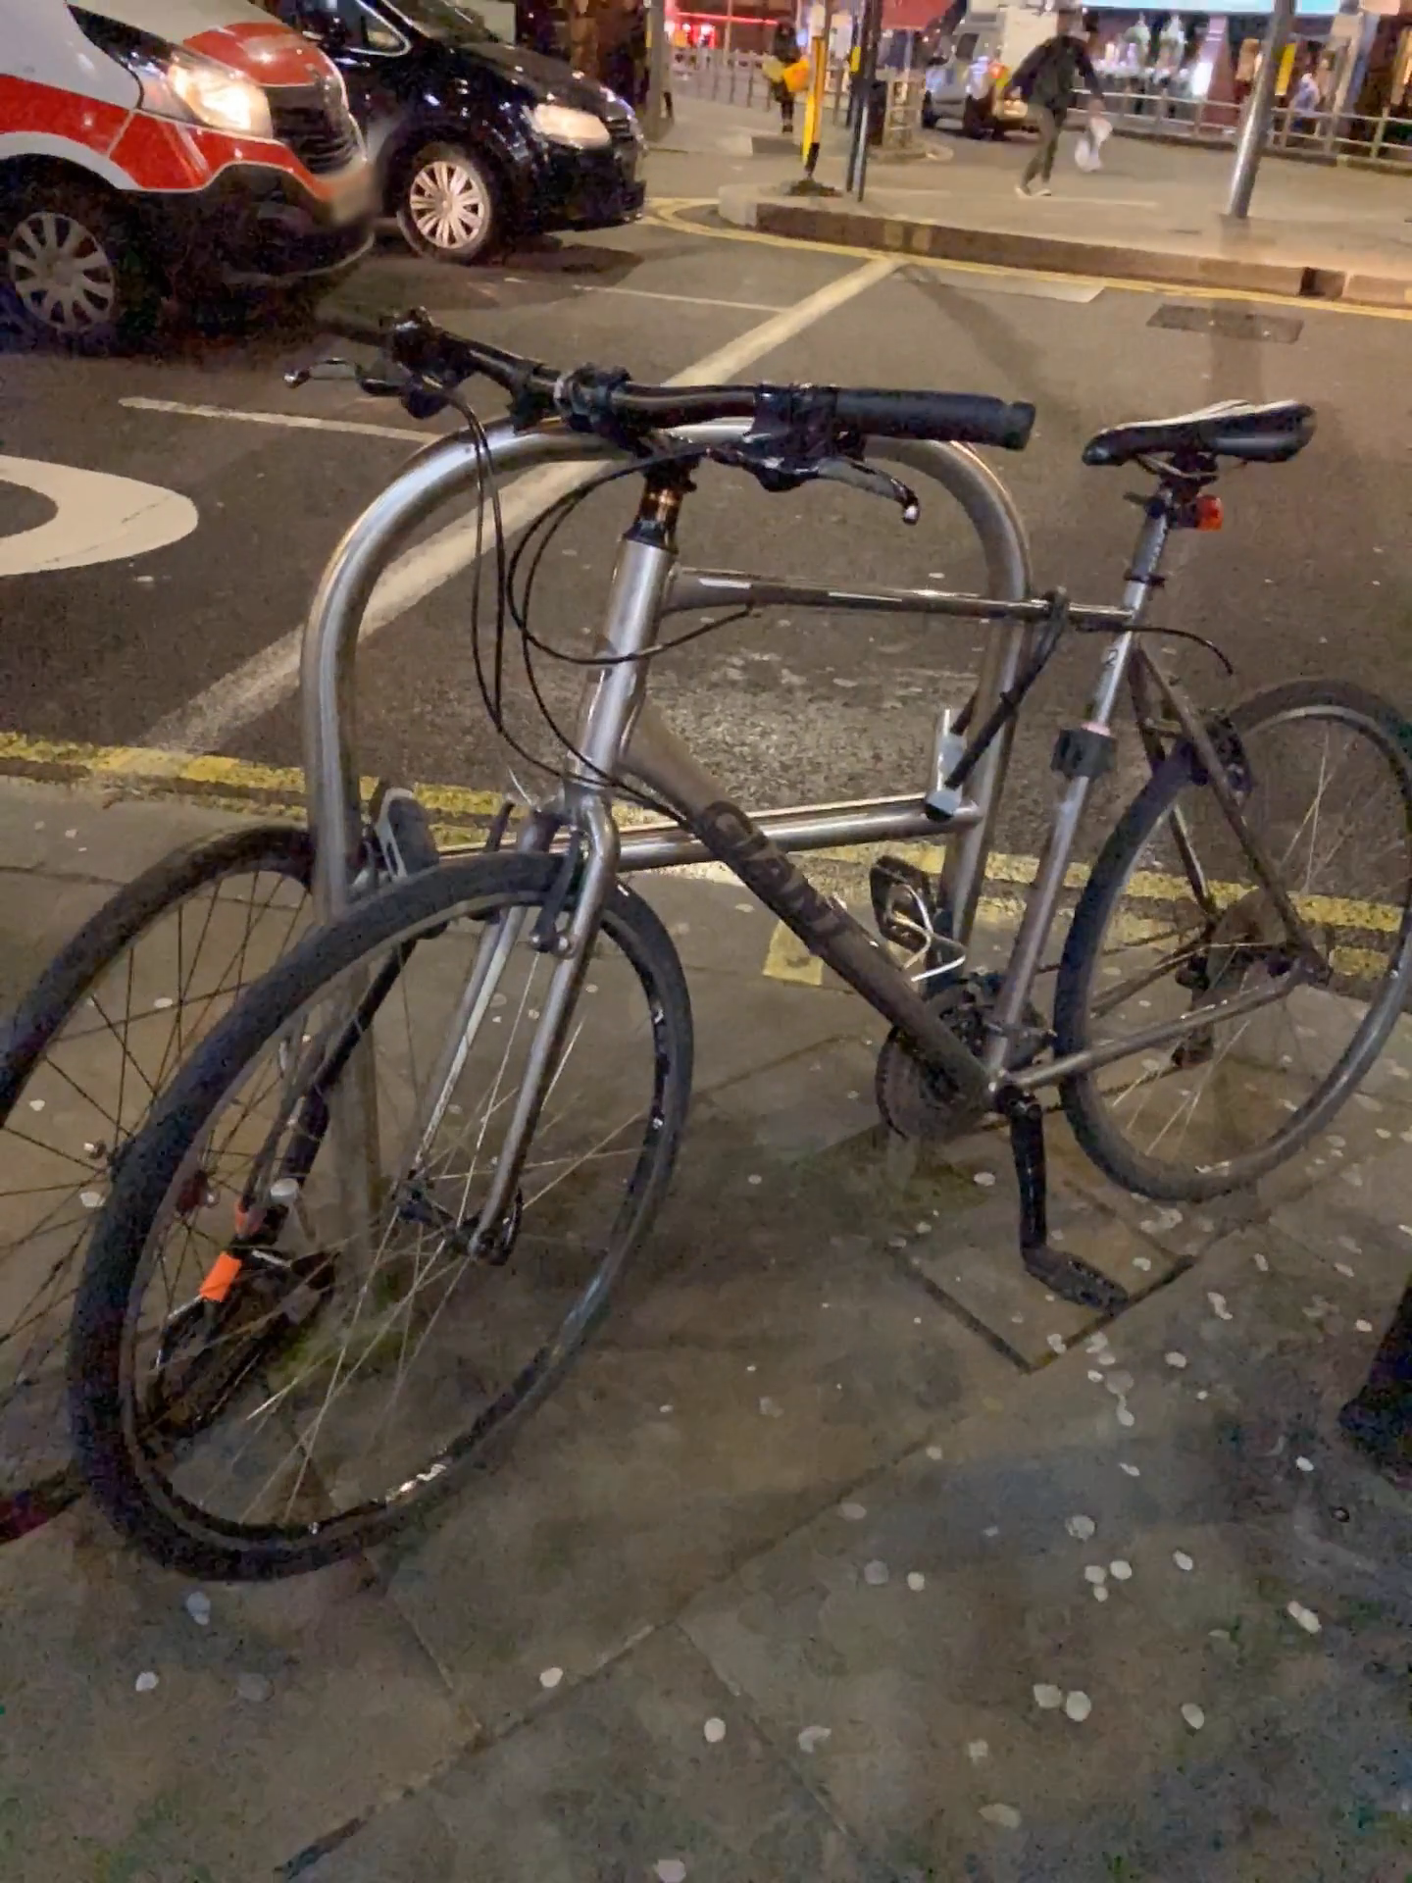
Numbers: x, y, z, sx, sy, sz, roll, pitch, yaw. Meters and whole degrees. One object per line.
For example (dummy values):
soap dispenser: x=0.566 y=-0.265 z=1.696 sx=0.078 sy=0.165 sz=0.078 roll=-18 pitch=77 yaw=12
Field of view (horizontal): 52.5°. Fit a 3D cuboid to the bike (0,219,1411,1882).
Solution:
bike: x=0.193 y=-0.101 z=1.573 sx=1.823 sy=1.124 sz=0.711 roll=-17 pitch=37 yaw=-31
